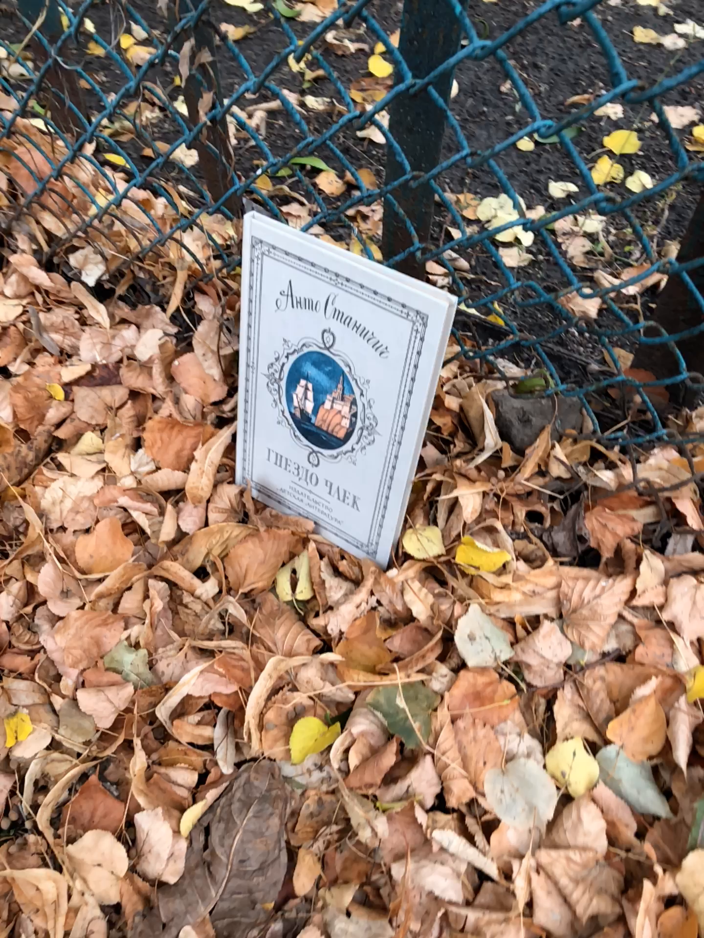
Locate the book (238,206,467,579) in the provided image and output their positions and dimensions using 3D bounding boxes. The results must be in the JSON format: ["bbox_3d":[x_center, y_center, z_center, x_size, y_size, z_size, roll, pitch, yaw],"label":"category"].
[{"bbox_3d":[-0.012,-0.036,0.456,0.128,0.199,0.016,29,47,21],"label":"book"}]
